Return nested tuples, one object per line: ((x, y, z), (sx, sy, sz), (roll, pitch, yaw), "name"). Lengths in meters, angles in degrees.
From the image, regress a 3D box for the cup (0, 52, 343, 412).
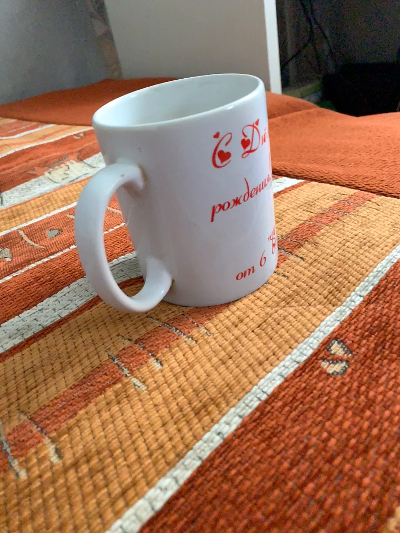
((0.002, -0.025, 0.174), (0.080, 0.089, 0.111), (12, 40, 33), "cup")
